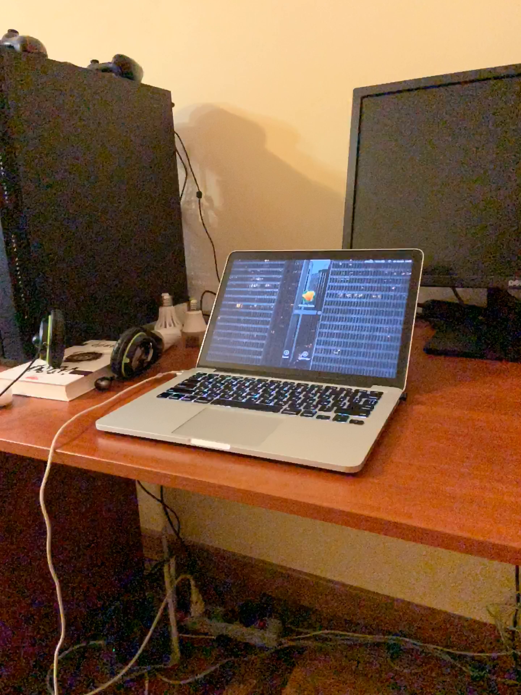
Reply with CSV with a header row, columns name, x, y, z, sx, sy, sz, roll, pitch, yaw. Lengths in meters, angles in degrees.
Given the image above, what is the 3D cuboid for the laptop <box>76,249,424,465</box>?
name,x,y,z,sx,sy,sz,roll,pitch,yaw
laptop,0.020,-0.025,0.665,0.300,0.155,0.341,4,17,24
